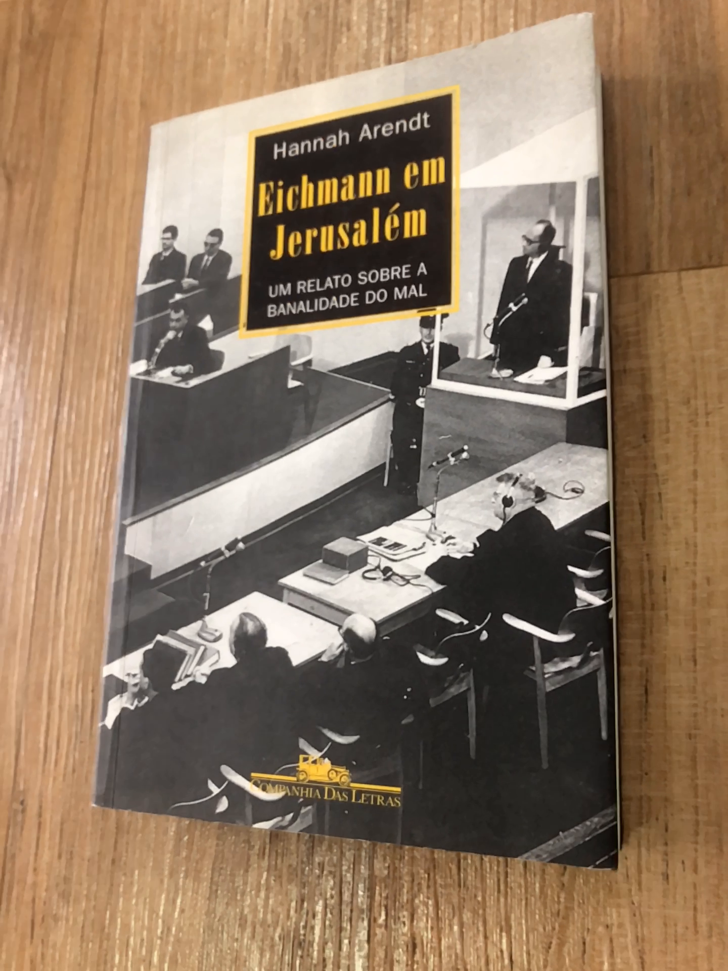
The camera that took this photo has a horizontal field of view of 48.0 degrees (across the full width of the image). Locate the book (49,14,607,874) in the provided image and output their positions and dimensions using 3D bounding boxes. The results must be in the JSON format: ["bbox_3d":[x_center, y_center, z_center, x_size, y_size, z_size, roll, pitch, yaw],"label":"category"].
[{"bbox_3d":[-0.010,-0.014,0.224,0.140,0.030,0.200,-2,79,21],"label":"book"}]
